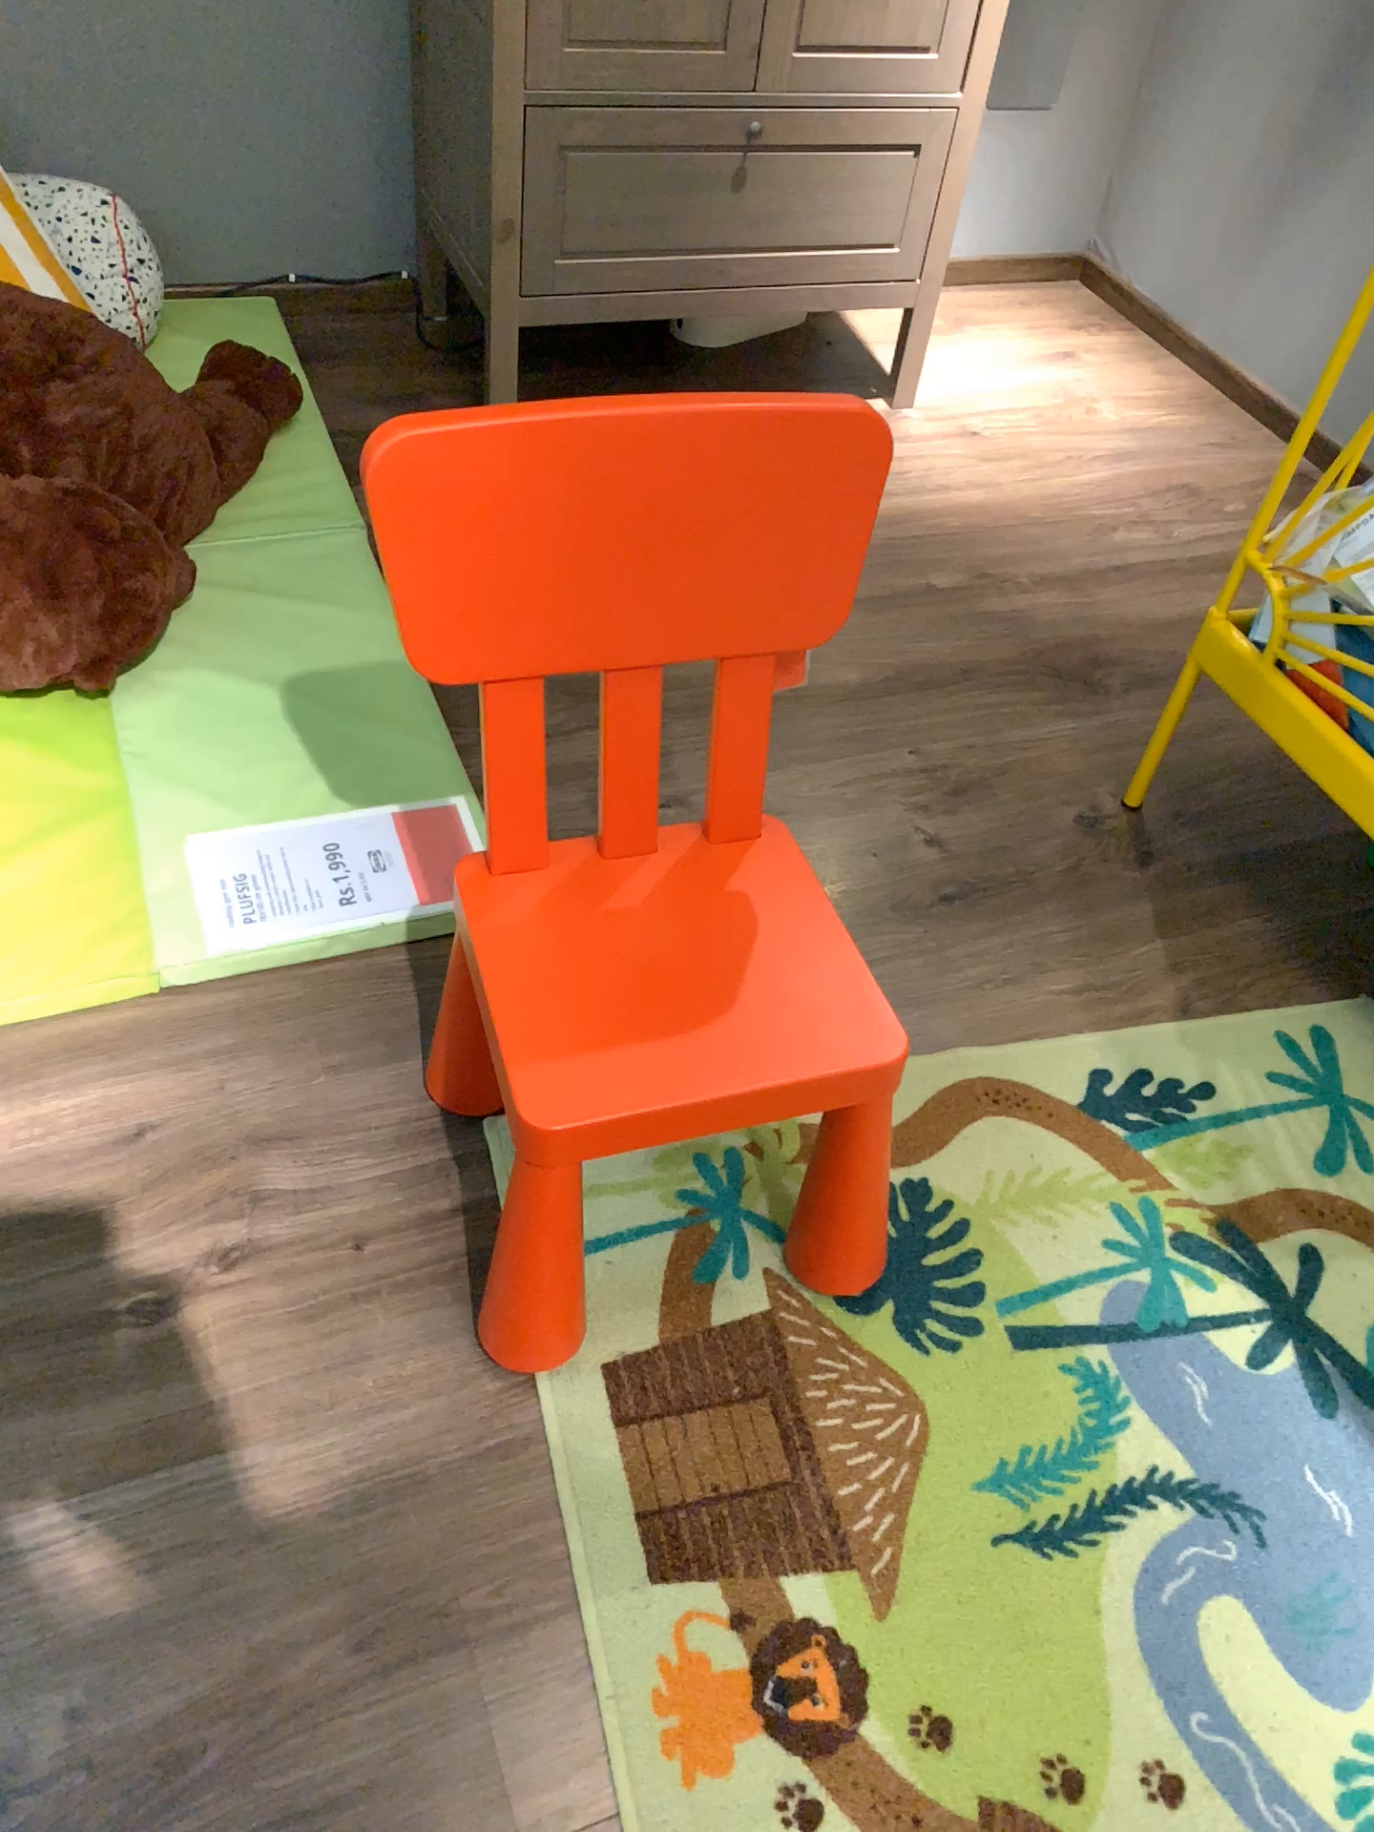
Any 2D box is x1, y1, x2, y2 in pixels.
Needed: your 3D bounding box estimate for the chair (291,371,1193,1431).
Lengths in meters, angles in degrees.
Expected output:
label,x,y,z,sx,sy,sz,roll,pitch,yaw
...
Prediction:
label,x,y,z,sx,sy,sz,roll,pitch,yaw
chair,-0.028,-0.016,1.089,0.430,0.598,0.492,-9,48,-18
